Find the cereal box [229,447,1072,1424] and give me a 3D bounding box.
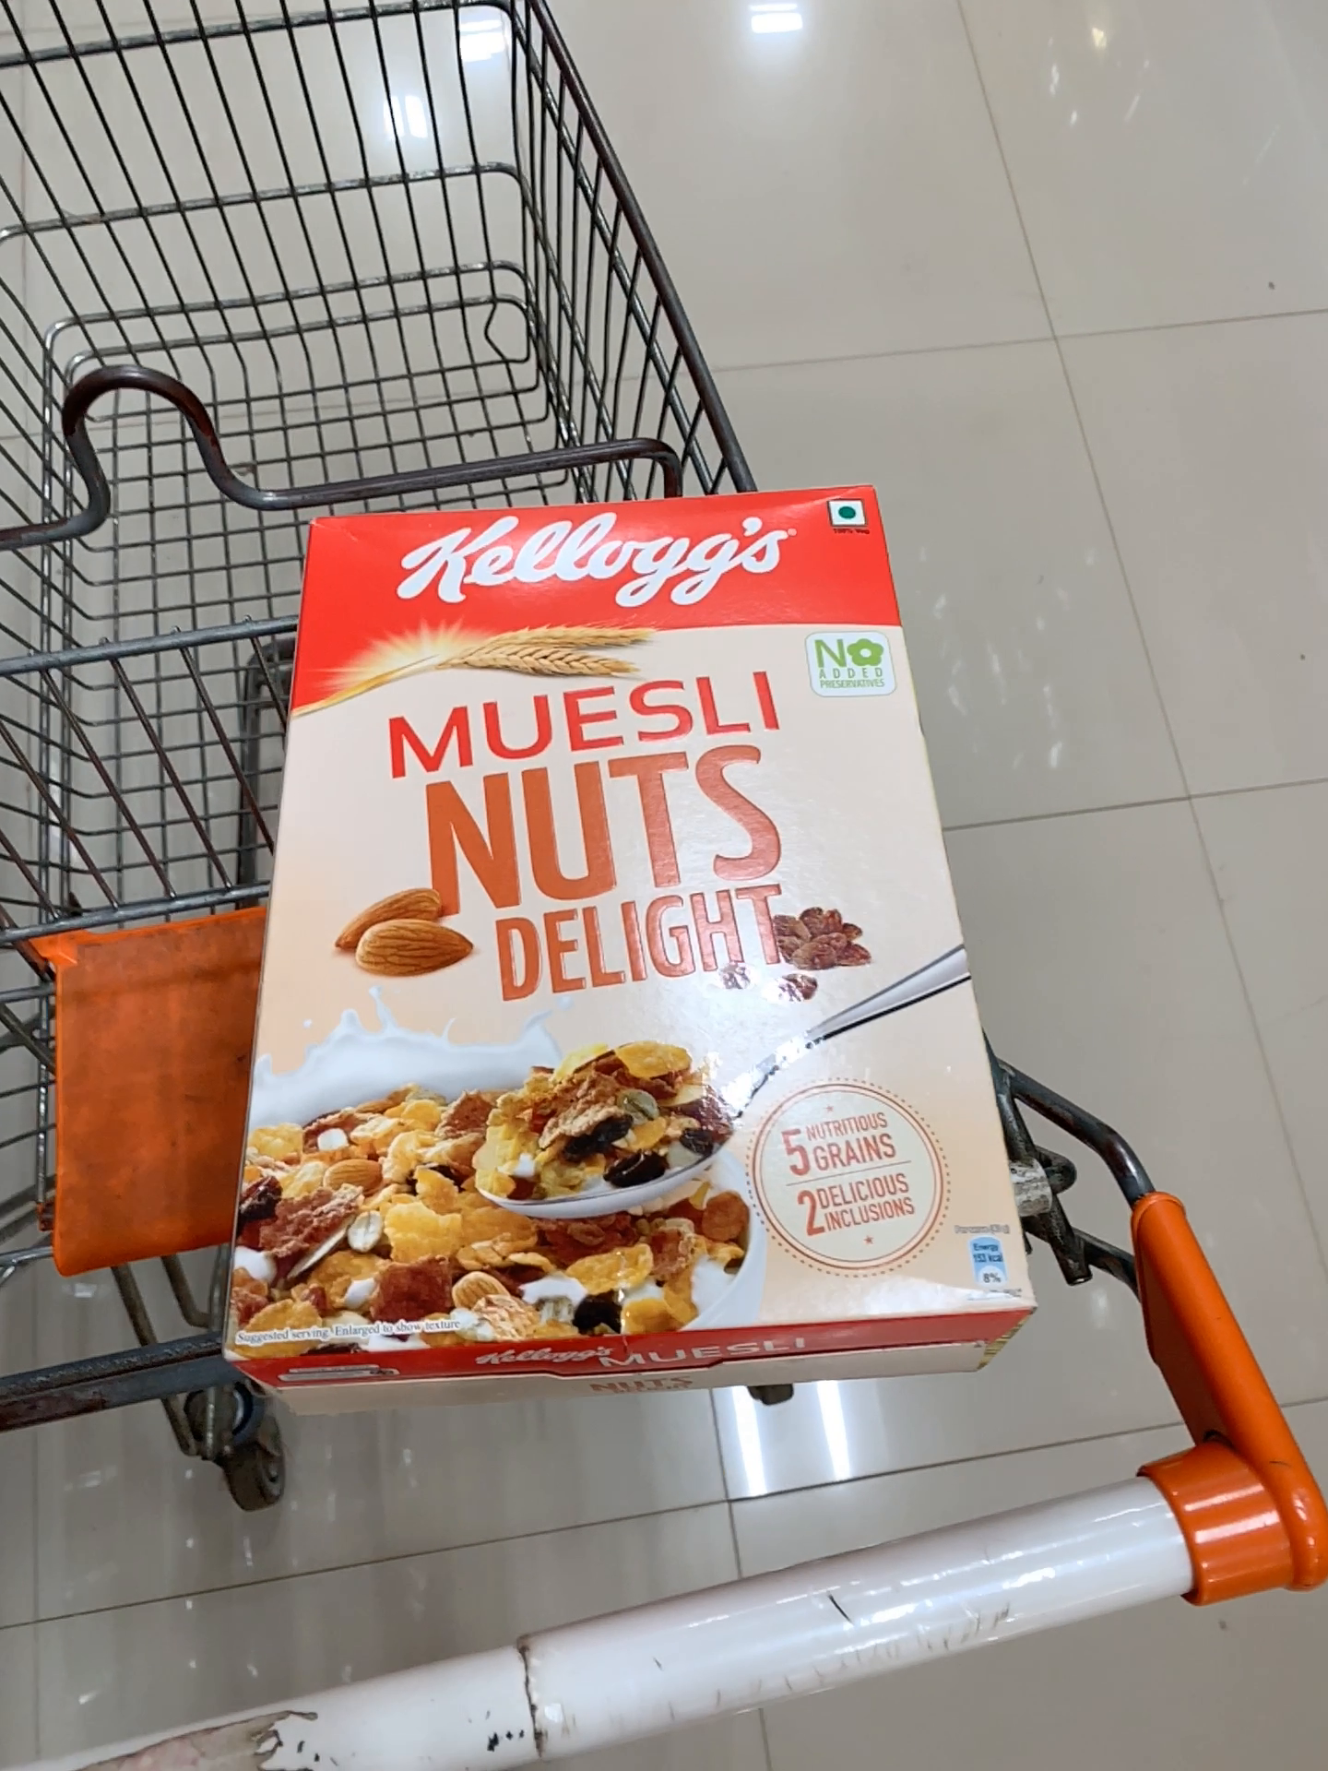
[{"bbox_3d":[-0.014,0.003,0.405,0.190,0.080,0.271,-4,62,-3],"label":"cereal box"}]
